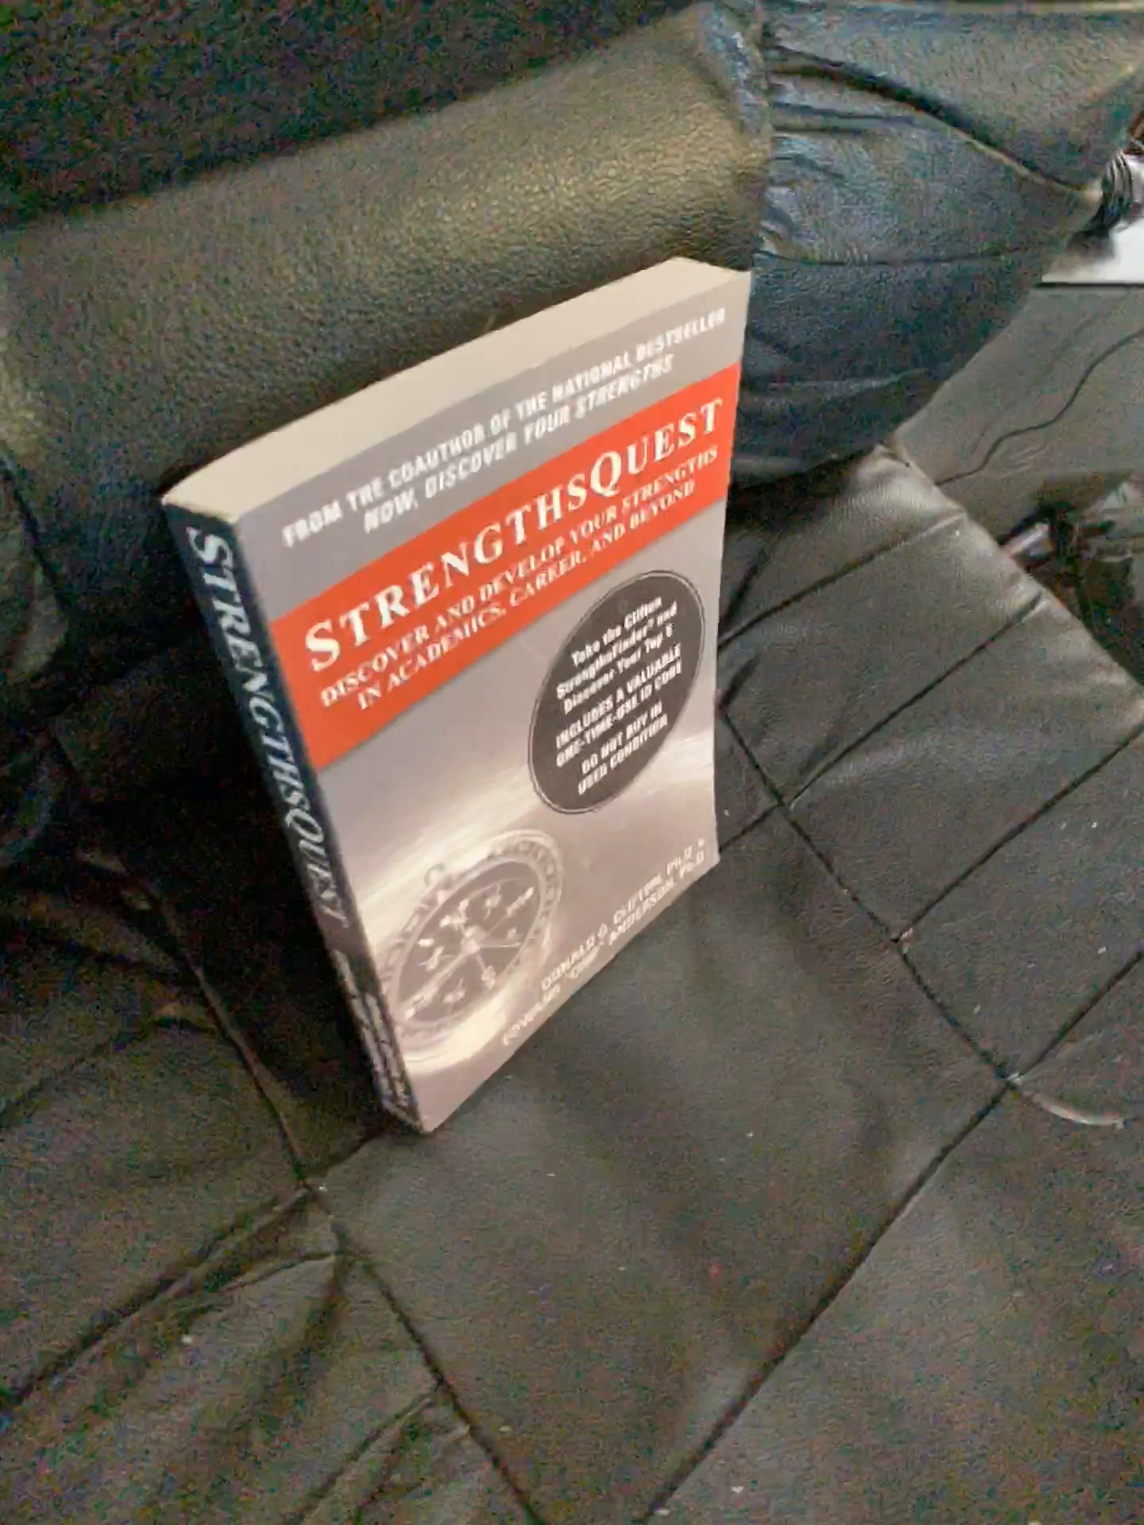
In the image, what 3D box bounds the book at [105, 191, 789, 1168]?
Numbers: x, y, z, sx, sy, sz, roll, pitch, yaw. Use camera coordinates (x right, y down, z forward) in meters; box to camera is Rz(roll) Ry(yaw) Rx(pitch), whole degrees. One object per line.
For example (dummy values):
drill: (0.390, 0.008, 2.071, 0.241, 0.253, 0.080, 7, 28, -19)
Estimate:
book: (-0.009, -0.008, 0.336, 0.030, 0.240, 0.170, 32, 56, 31)
